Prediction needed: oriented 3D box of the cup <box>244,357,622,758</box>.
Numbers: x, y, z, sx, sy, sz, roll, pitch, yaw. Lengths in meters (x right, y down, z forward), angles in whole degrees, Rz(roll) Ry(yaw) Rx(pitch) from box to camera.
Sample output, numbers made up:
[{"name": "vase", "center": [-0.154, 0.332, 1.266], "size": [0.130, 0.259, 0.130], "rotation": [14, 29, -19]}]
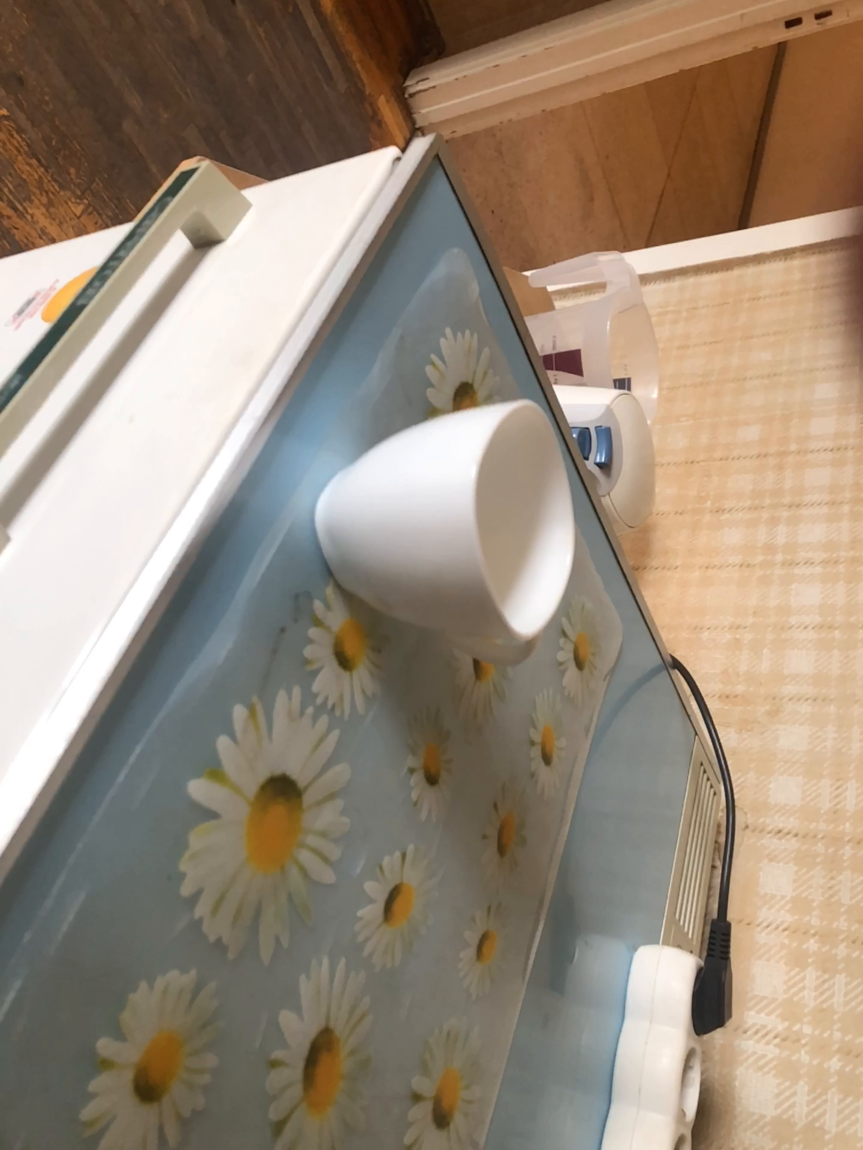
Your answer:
[{"name": "cup", "center": [0.008, -0.002, 0.319], "size": [0.102, 0.070, 0.085], "rotation": [53, 46, -44]}]
